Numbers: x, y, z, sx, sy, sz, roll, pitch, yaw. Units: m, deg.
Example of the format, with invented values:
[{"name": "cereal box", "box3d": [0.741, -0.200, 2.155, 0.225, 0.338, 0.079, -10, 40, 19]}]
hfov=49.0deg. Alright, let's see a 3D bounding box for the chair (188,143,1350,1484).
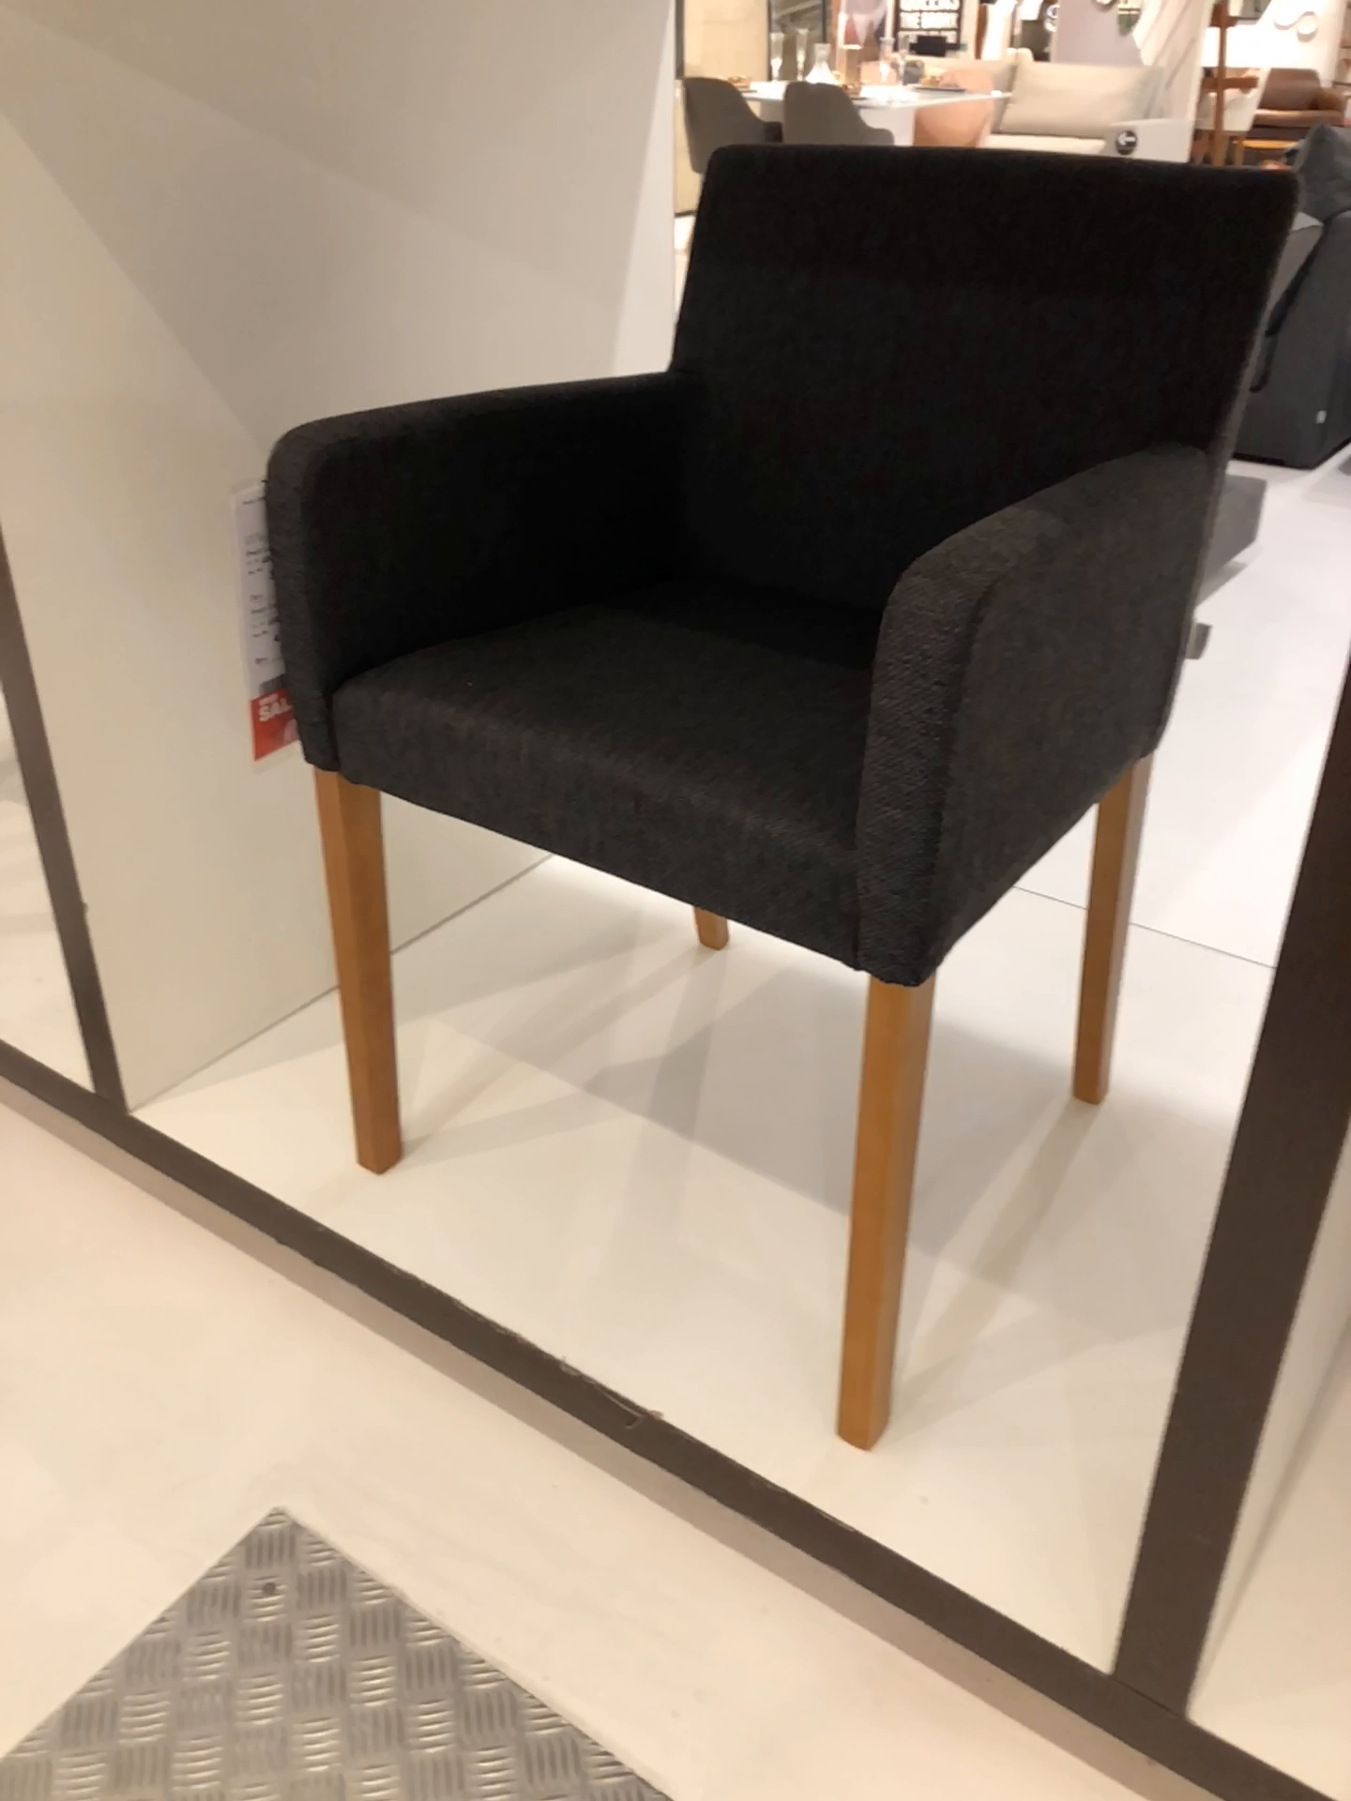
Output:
[{"name": "chair", "box3d": [0.078, -0.135, 1.187, 0.561, 0.794, 0.563, 21, 36, 31]}]
